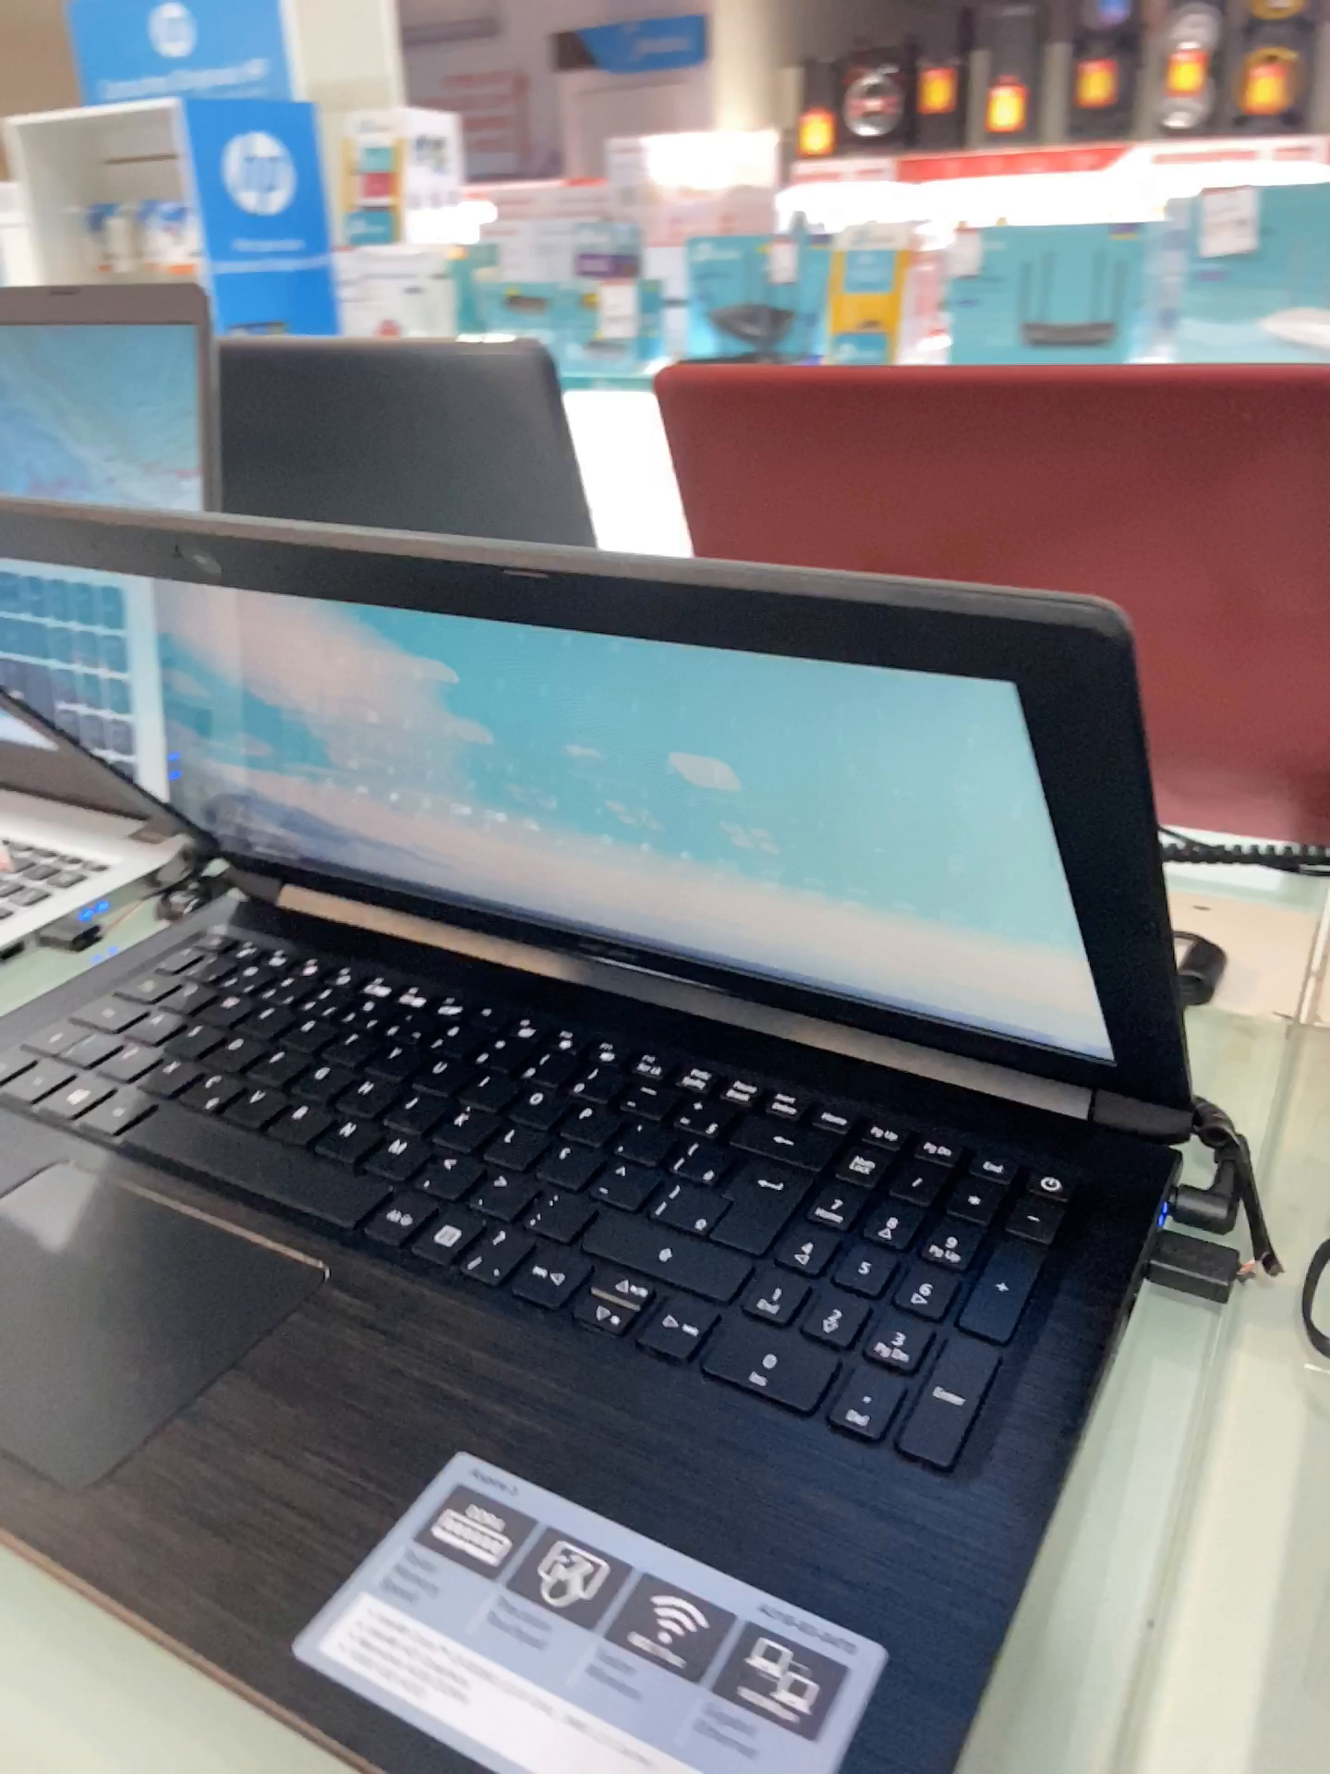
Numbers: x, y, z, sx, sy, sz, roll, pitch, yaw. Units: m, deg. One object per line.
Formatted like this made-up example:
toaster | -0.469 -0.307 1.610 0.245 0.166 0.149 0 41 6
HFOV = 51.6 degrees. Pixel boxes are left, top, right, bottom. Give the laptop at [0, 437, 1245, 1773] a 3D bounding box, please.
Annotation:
laptop | -0.085 0.006 0.345 0.373 0.186 0.235 12 29 29

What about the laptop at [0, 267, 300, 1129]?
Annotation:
laptop | -0.428 -0.123 0.597 0.395 0.233 0.303 11 29 29
